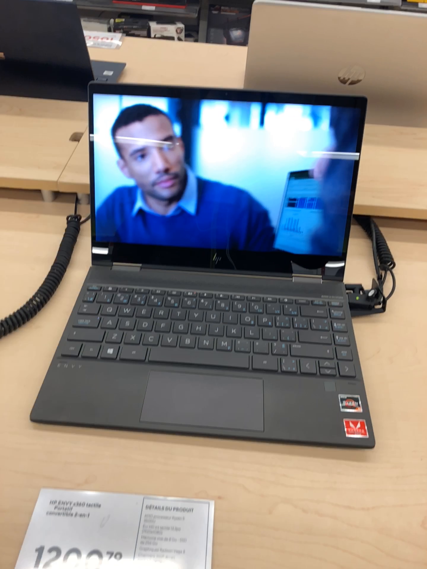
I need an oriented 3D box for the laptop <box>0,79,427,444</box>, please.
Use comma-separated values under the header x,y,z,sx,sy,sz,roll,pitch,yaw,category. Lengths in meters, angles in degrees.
x,y,z,sx,sy,sz,roll,pitch,yaw,category
0.003,-0.038,0.452,0.294,0.182,0.289,4,44,0,laptop
